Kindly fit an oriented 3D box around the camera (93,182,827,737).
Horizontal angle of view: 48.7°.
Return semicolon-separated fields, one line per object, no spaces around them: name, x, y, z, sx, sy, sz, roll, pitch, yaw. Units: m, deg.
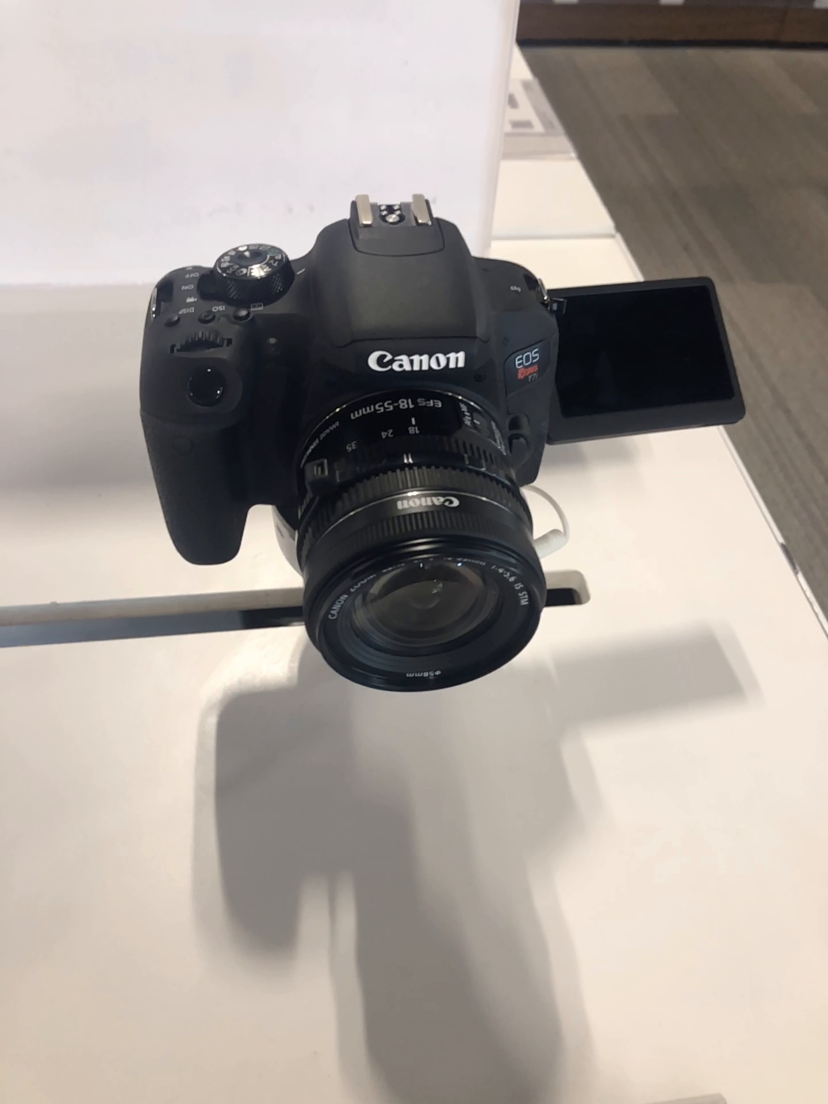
camera;0.029;-0.032;0.270;0.210;0.099;0.111;-5;48;-8
